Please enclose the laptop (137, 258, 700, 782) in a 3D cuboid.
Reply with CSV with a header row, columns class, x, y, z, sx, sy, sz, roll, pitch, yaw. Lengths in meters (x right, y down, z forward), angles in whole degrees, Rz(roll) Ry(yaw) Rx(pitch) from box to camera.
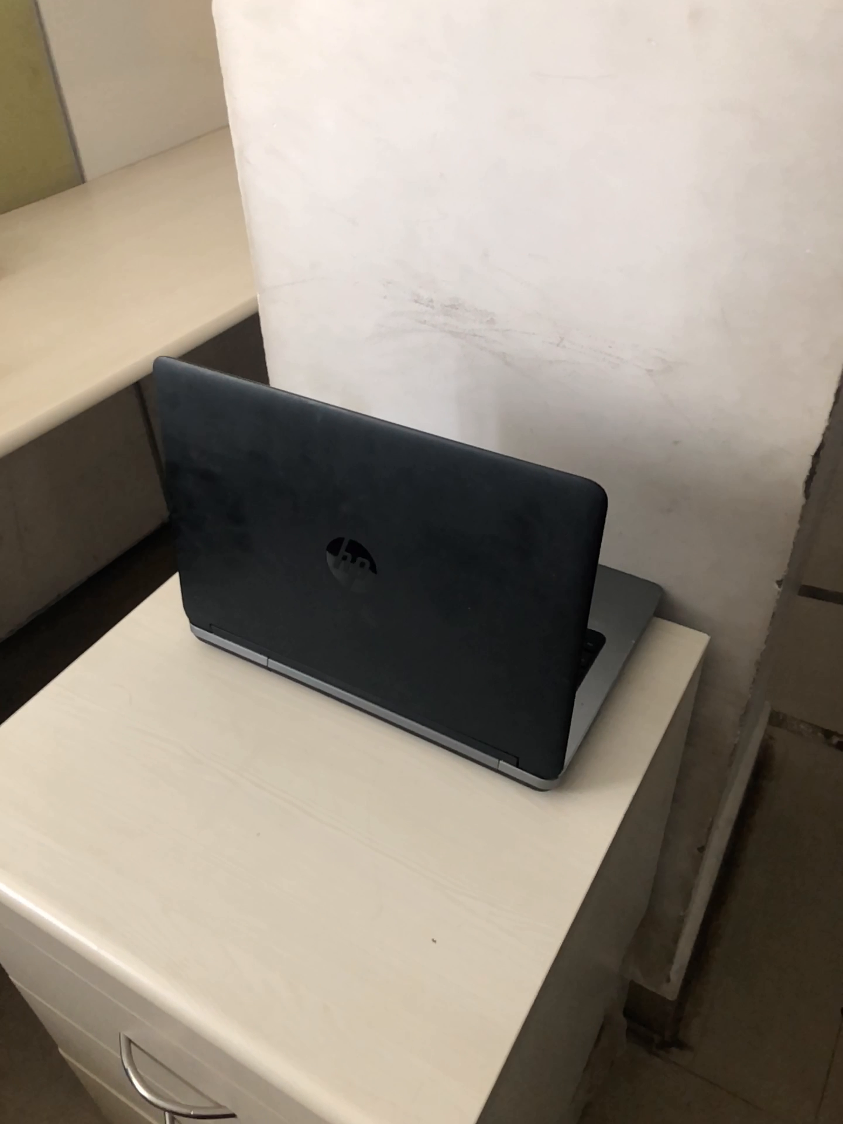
class,x,y,z,sx,sy,sz,roll,pitch,yaw
laptop,0.001,-0.046,0.696,0.317,0.226,0.205,20,47,24
